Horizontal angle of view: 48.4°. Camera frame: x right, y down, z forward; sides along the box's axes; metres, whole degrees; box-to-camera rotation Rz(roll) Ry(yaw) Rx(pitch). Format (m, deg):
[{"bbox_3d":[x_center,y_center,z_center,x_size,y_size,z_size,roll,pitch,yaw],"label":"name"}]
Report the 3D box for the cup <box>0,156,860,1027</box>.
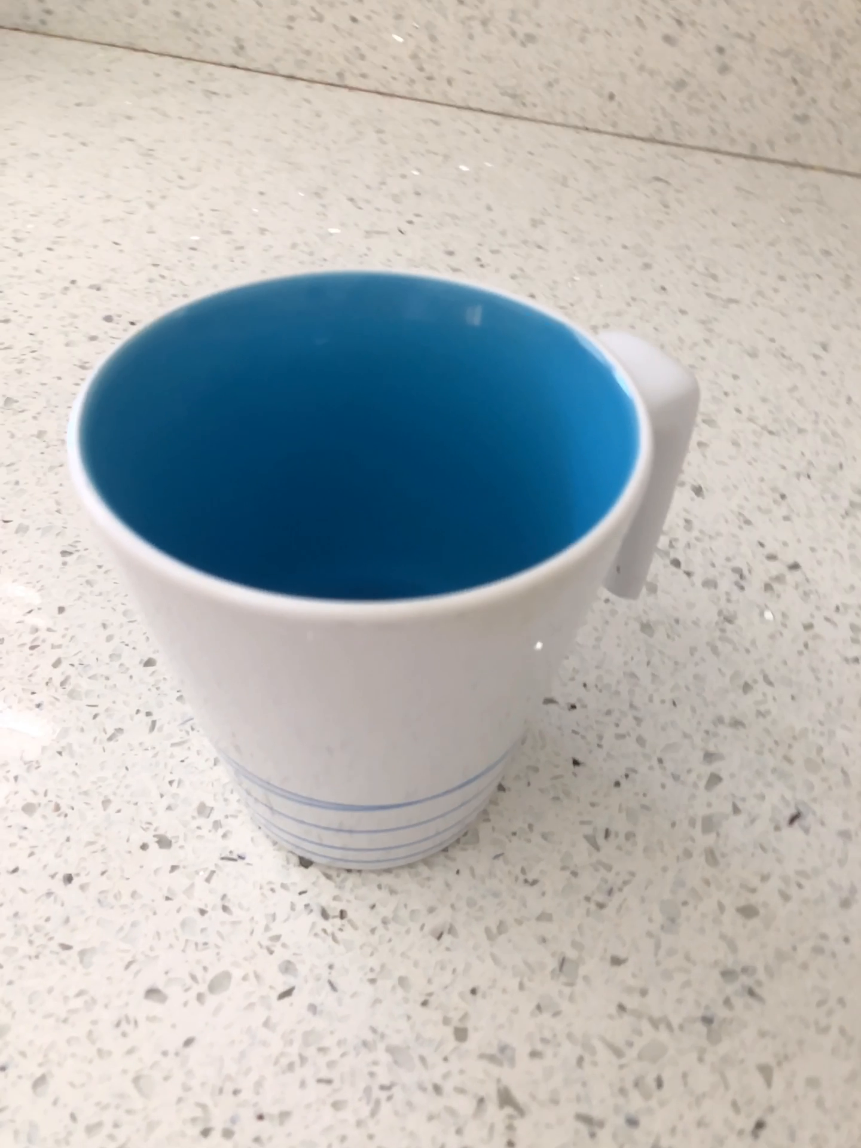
[{"bbox_3d":[0.005,-0.005,0.181,0.080,0.090,0.120,35,53,28],"label":"cup"}]
